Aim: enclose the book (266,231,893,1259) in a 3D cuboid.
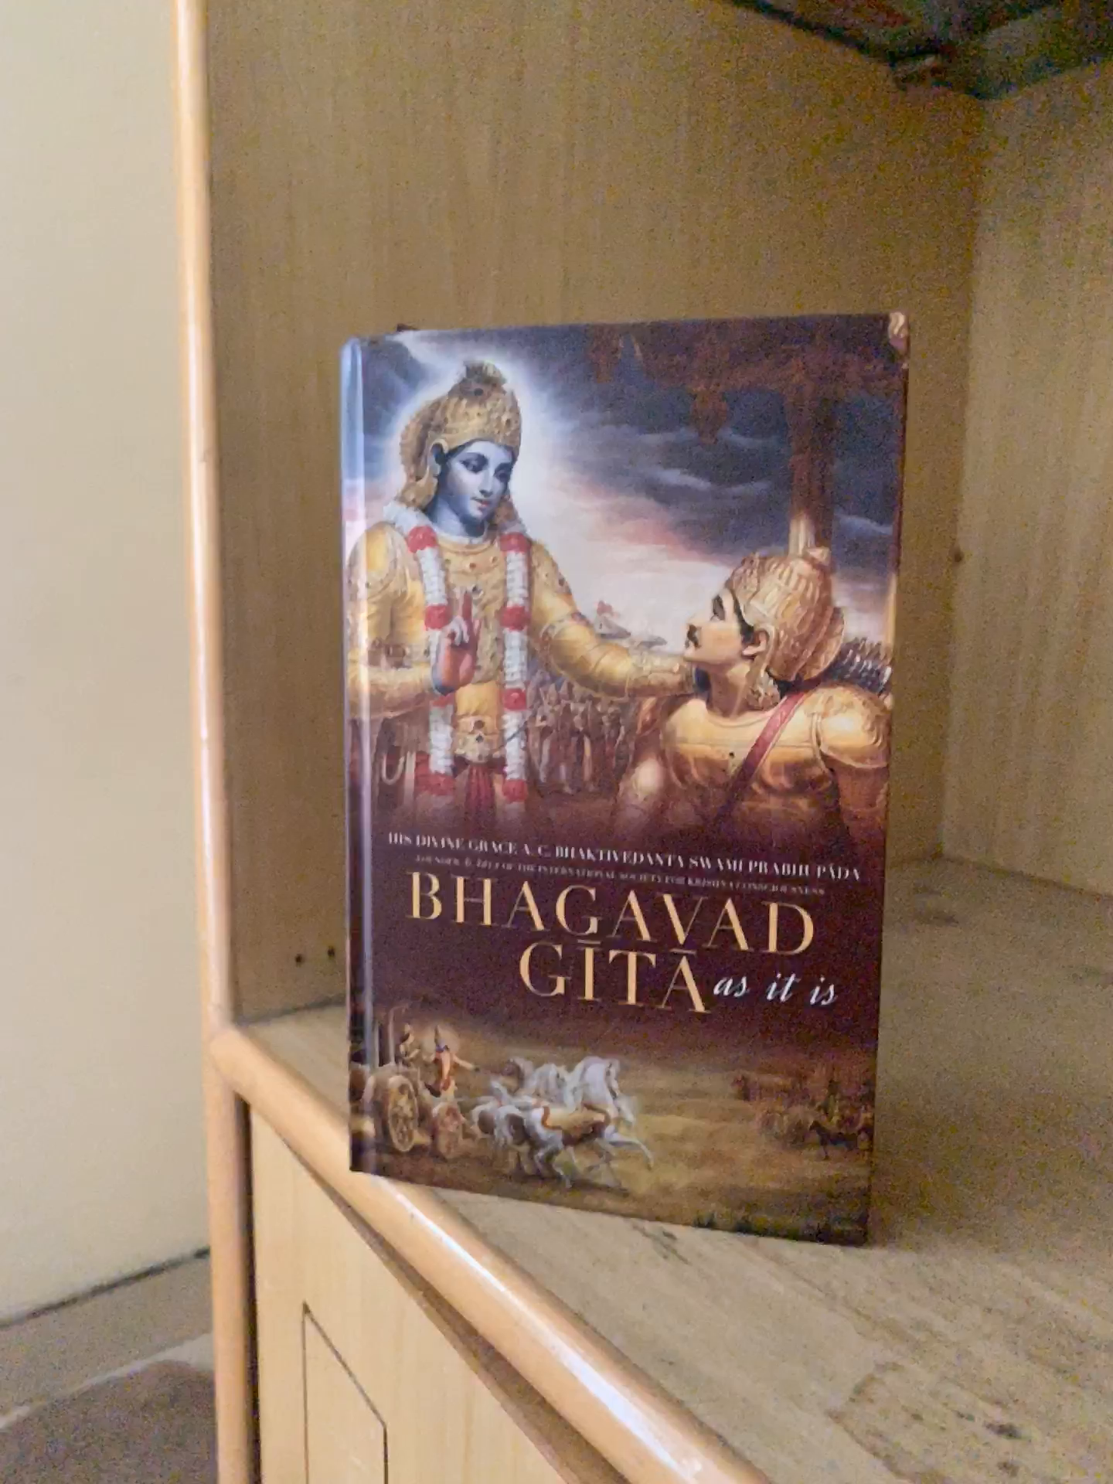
[{"bbox_3d":[0.007,-0.002,0.299,0.140,0.219,0.070,3,7,15],"label":"book"}]
